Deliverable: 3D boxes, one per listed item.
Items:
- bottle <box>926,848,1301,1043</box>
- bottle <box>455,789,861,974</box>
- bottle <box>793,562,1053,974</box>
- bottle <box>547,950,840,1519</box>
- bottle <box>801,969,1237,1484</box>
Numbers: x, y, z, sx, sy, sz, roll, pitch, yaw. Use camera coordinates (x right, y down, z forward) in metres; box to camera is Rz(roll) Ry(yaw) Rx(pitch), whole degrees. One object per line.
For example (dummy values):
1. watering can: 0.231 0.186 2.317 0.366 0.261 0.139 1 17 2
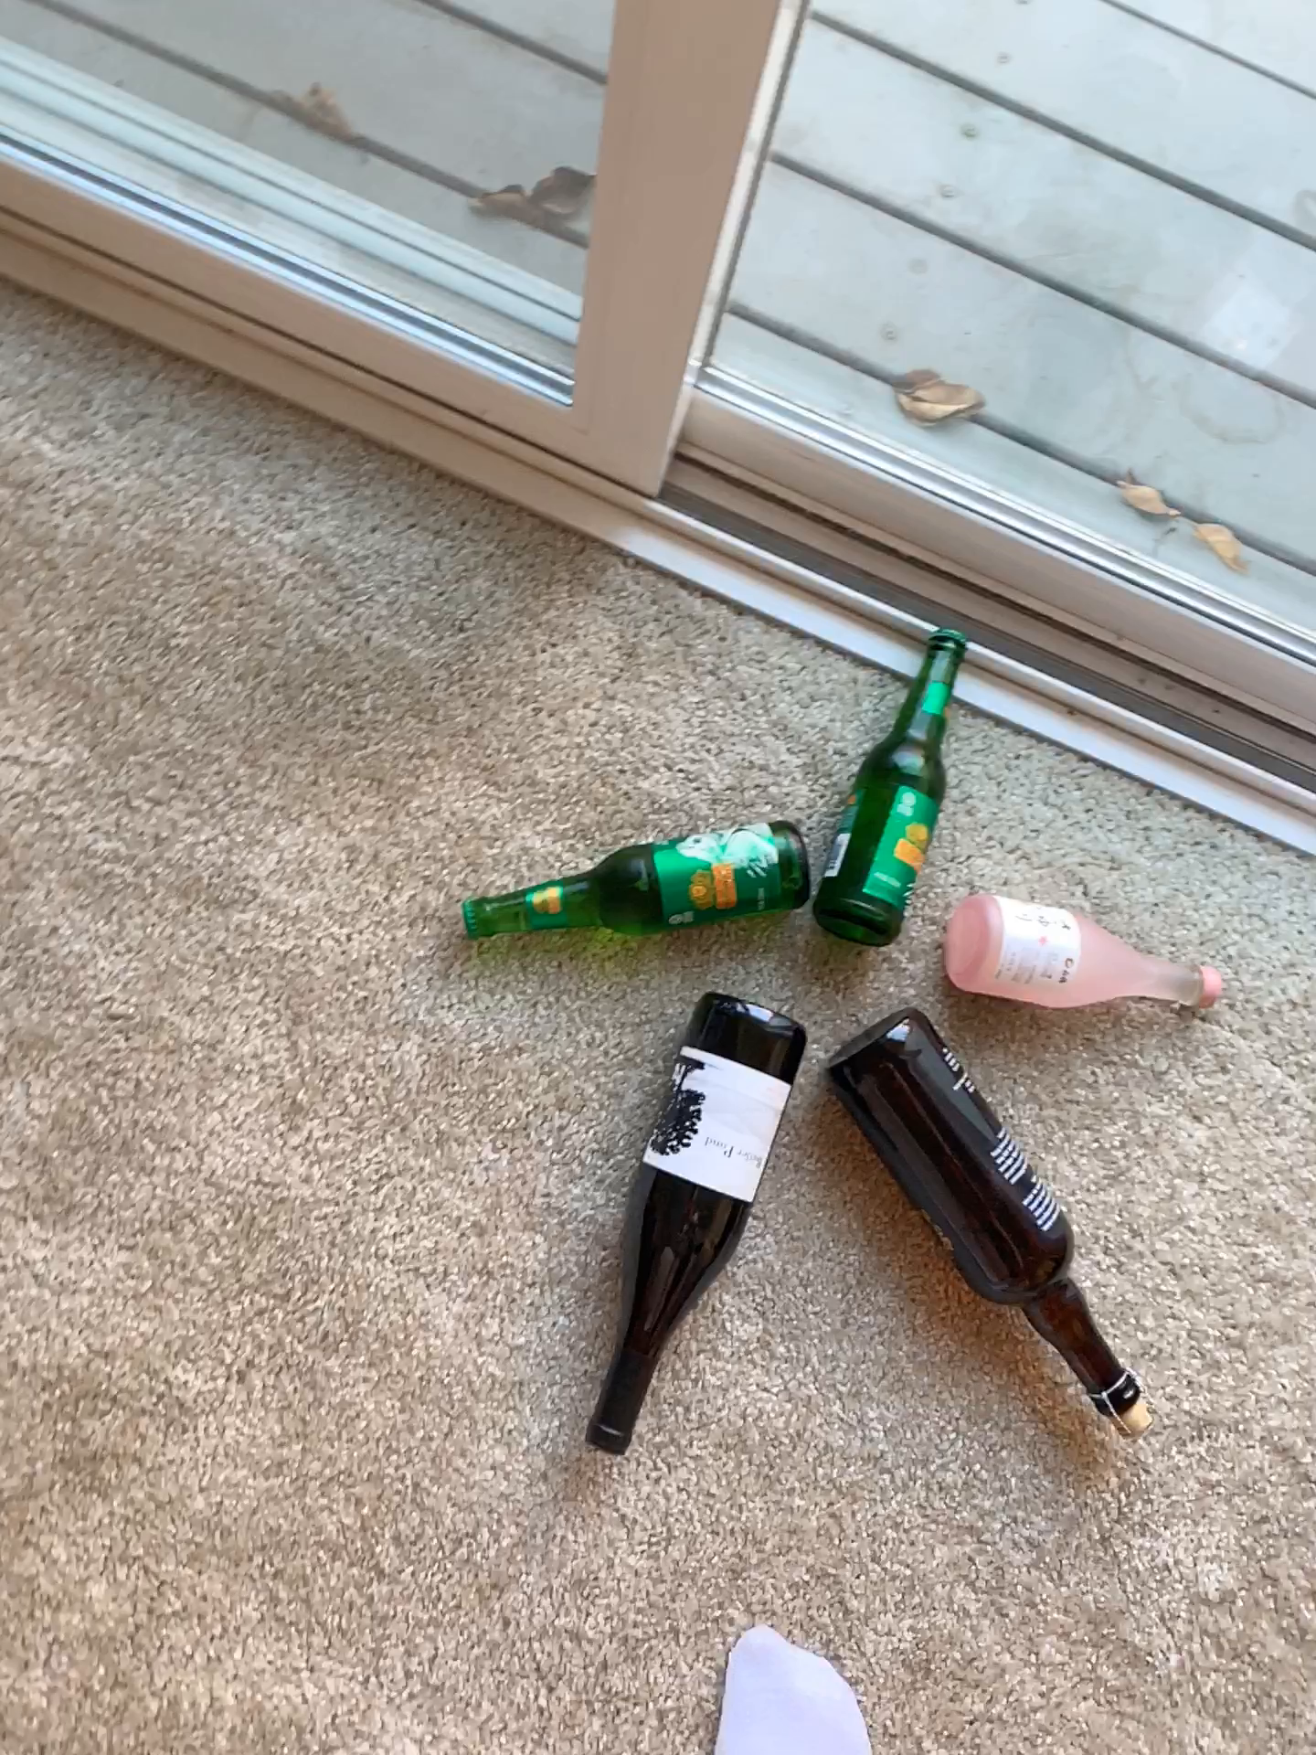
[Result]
1. bottle: 0.298 0.048 0.893 0.210 0.090 0.080 11 78 -2
2. bottle: -0.004 0.004 0.862 0.240 0.090 0.070 -8 80 -11
3. bottle: 0.176 -0.070 0.905 0.080 0.090 0.250 20 80 -3
4. bottle: 0.021 0.209 0.826 0.080 0.090 0.310 19 75 -3
5. bottle: 0.221 0.216 0.858 0.080 0.090 0.310 -33 82 -12
